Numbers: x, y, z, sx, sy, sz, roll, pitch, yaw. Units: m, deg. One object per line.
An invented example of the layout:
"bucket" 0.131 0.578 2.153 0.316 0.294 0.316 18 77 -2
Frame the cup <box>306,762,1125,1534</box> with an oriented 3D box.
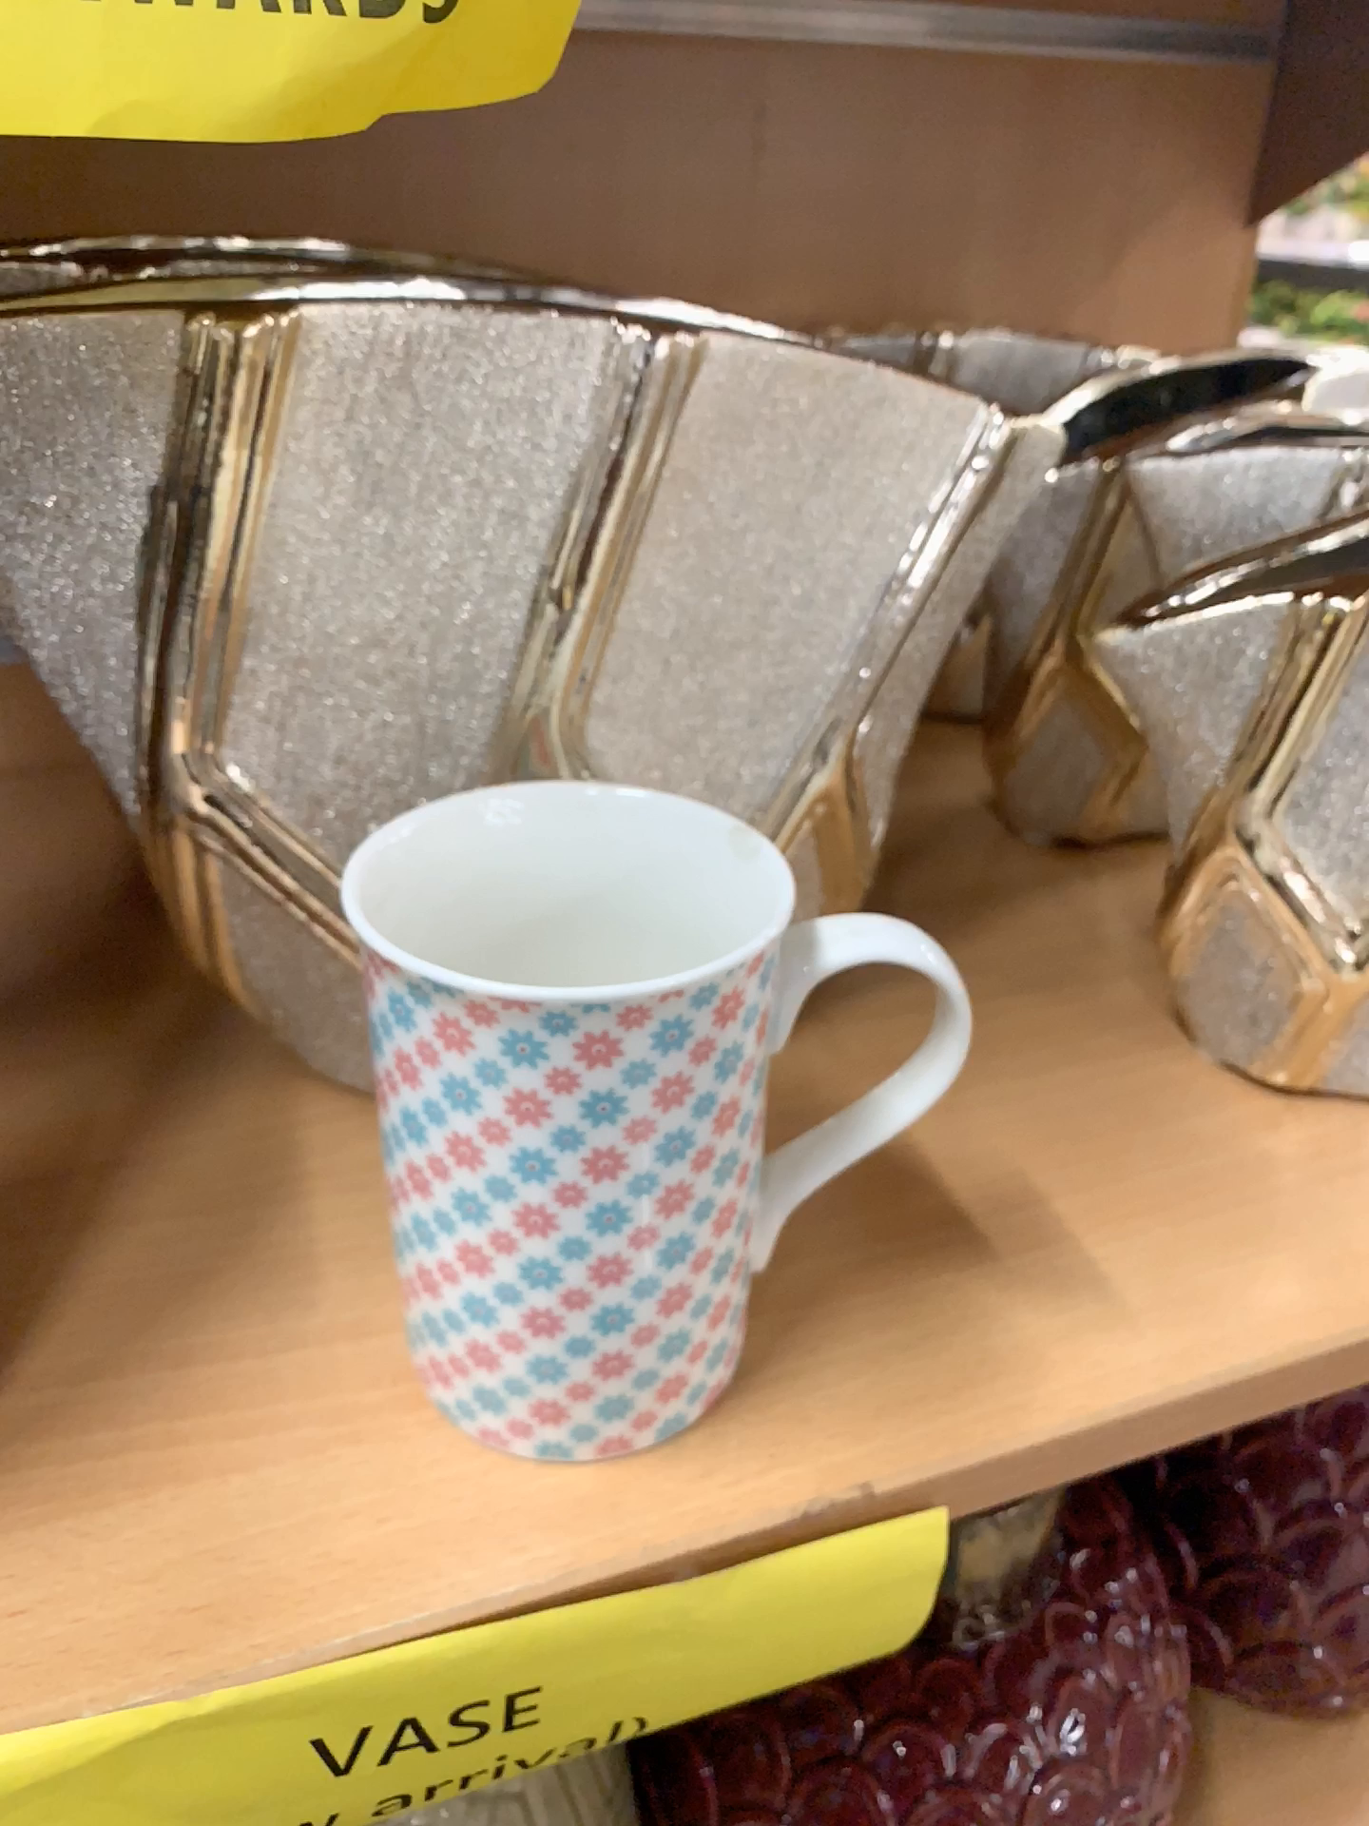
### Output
"cup" 0.001 0.040 0.270 0.120 0.110 0.080 -2 28 -6
